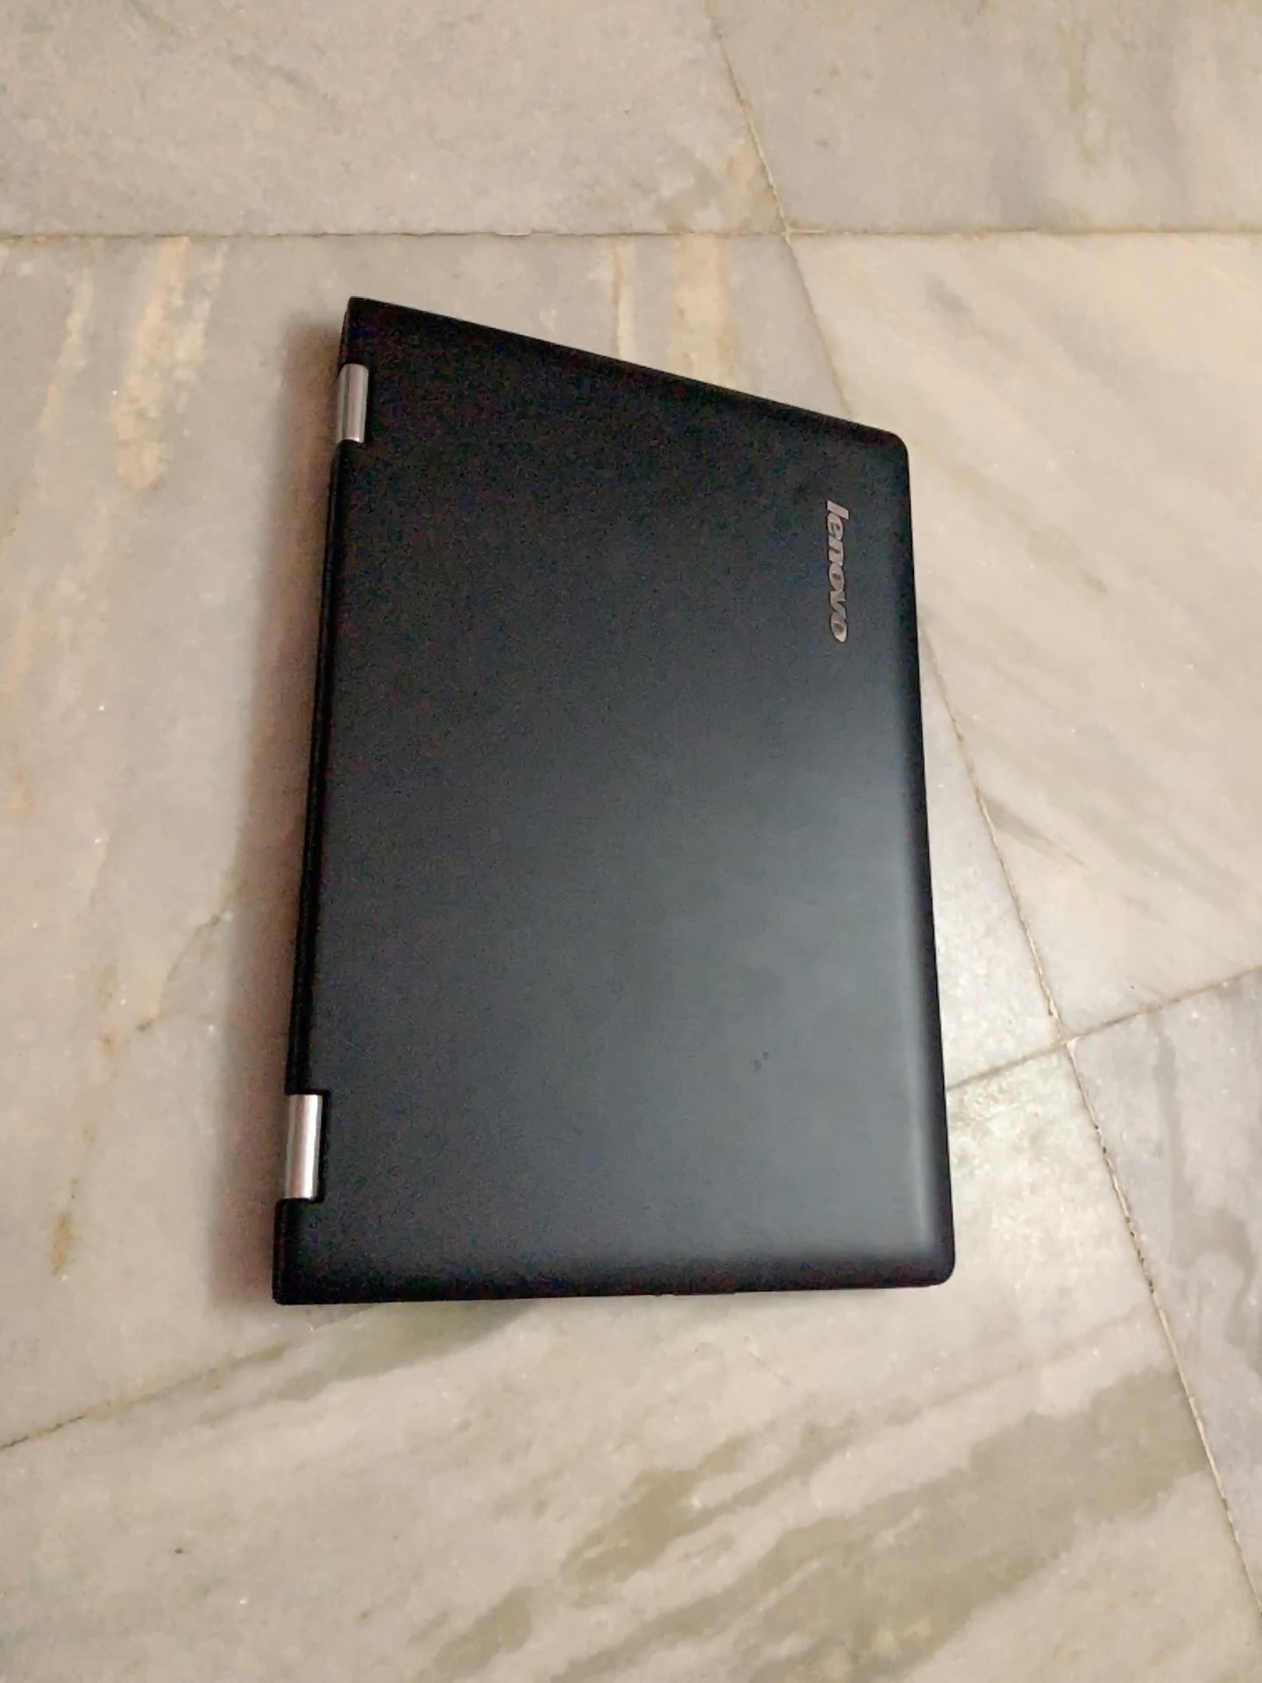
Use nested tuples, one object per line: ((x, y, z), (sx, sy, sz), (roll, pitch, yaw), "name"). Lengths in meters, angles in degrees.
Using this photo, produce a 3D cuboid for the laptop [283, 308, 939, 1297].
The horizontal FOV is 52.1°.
((0.006, -0.017, 0.450), (0.224, 0.001, 0.325), (6, 74, -22), "laptop")
